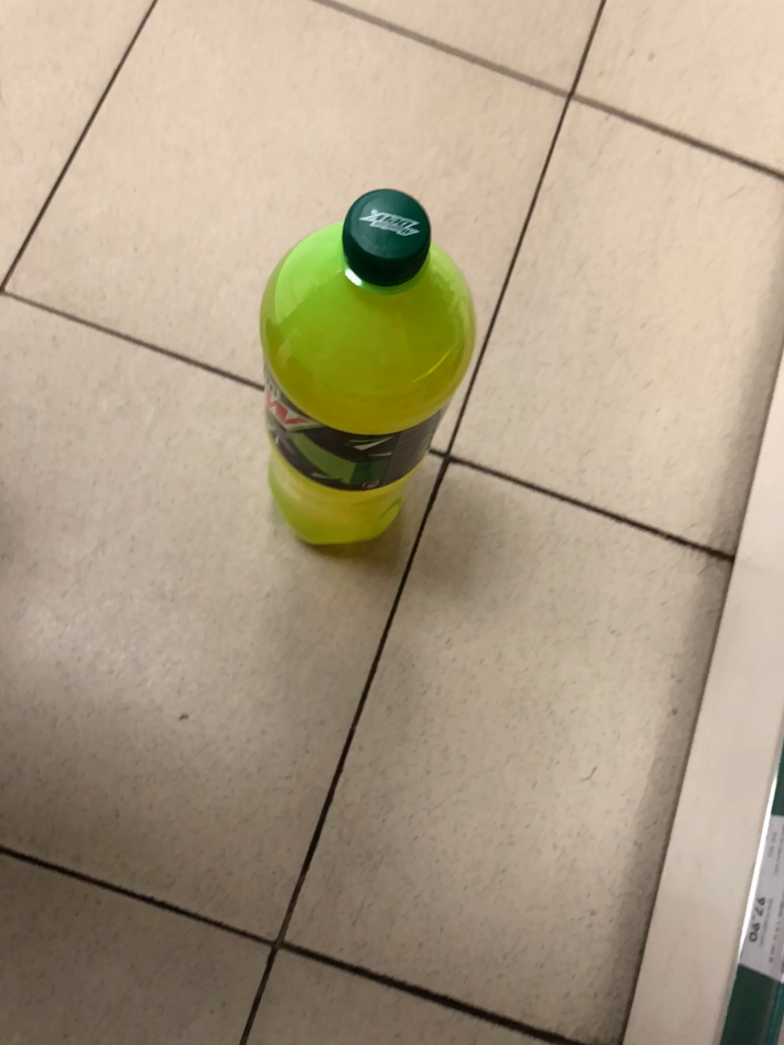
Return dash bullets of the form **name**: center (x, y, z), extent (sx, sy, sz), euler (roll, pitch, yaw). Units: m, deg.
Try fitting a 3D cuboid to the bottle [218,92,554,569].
- **bottle**: center (-0.017, -0.060, 0.438), extent (0.100, 0.295, 0.095), euler (2, 76, -7)
